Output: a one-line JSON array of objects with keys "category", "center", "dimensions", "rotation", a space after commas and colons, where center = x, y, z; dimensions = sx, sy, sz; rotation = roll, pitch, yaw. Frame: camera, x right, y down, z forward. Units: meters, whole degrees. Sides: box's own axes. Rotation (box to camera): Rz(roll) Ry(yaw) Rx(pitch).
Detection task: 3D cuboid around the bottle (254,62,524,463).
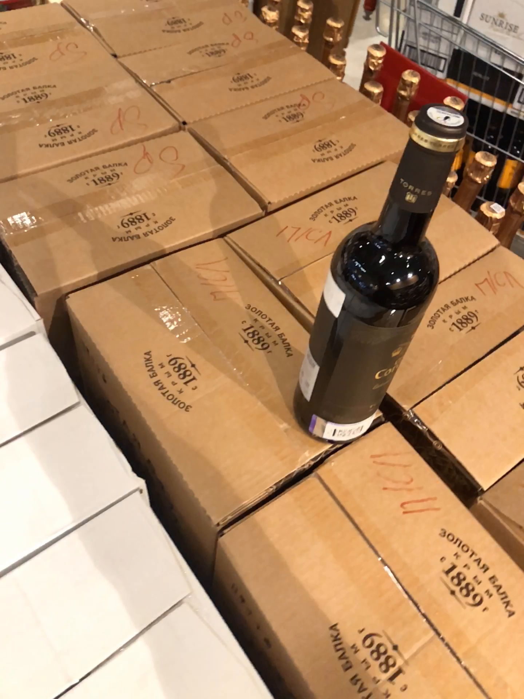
[{"category": "bottle", "center": [0.072, -0.038, 0.419], "dimensions": [0.090, 0.278, 0.090], "rotation": [4, 53, -5]}]
